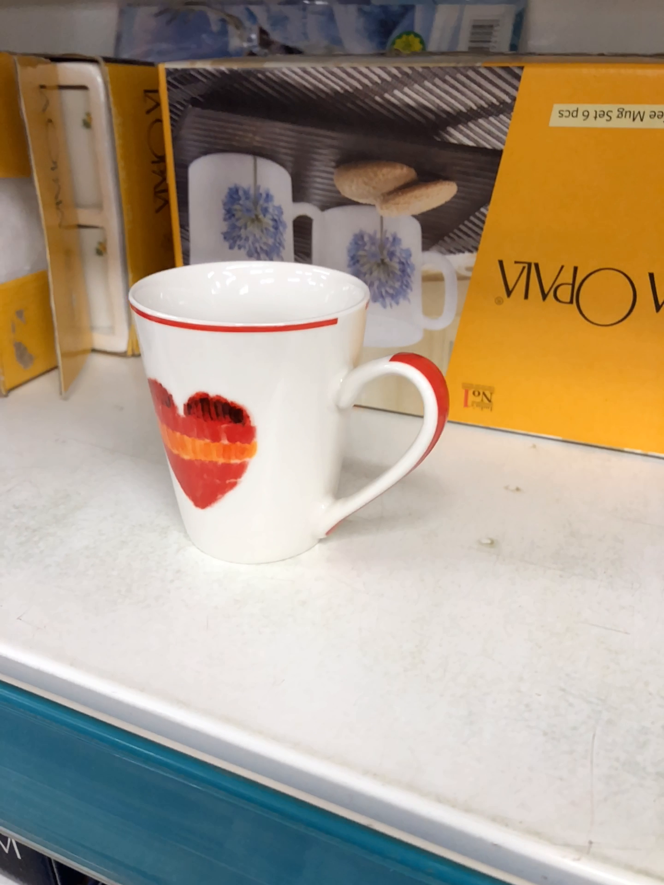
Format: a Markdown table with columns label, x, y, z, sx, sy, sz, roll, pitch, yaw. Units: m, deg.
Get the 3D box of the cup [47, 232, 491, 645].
| label | x | y | z | sx | sy | sz | roll | pitch | yaw |
| --- | --- | --- | --- | --- | --- | --- | --- | --- | --- |
| cup | -0.019 | -0.012 | 0.263 | 0.120 | 0.099 | 0.081 | 14 | 29 | 26 |
